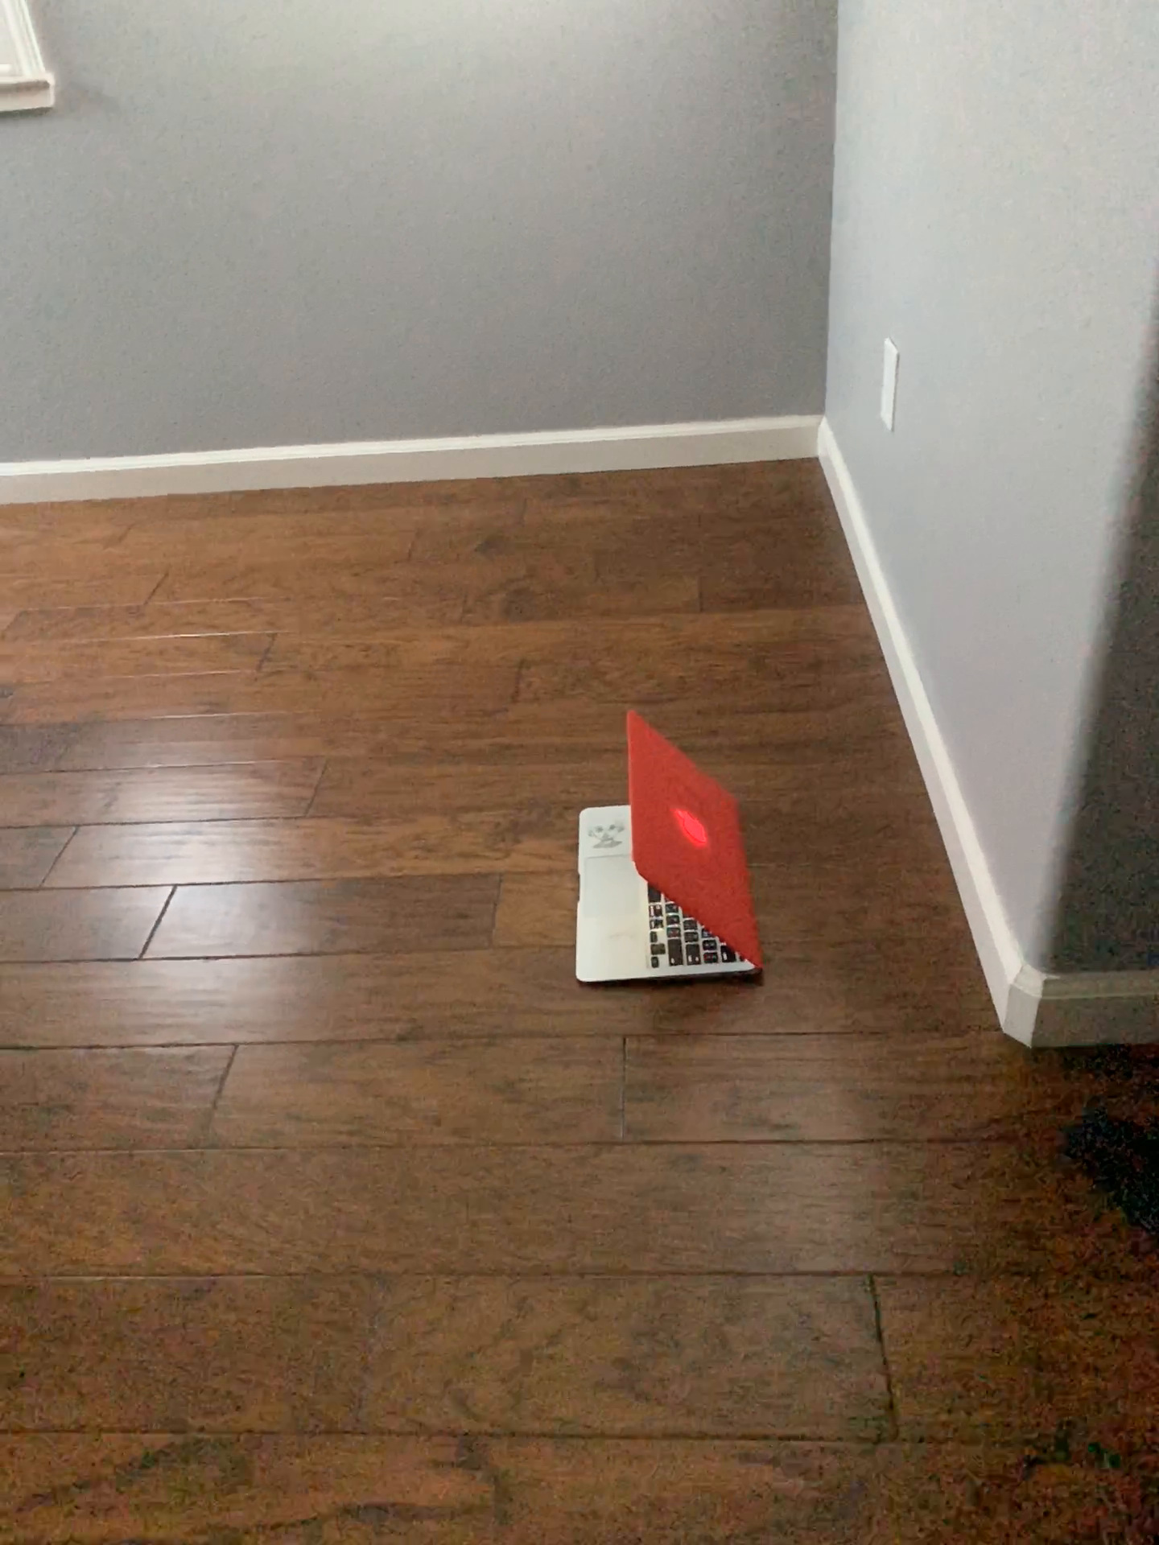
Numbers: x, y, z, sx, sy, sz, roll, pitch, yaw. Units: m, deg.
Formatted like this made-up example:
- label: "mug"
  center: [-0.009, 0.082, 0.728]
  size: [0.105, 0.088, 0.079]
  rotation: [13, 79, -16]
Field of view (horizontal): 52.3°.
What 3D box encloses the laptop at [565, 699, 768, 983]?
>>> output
- label: "laptop"
  center: [0.092, 0.067, 1.310]
  size: [0.197, 0.139, 0.303]
  rotation: [-4, 35, 4]
